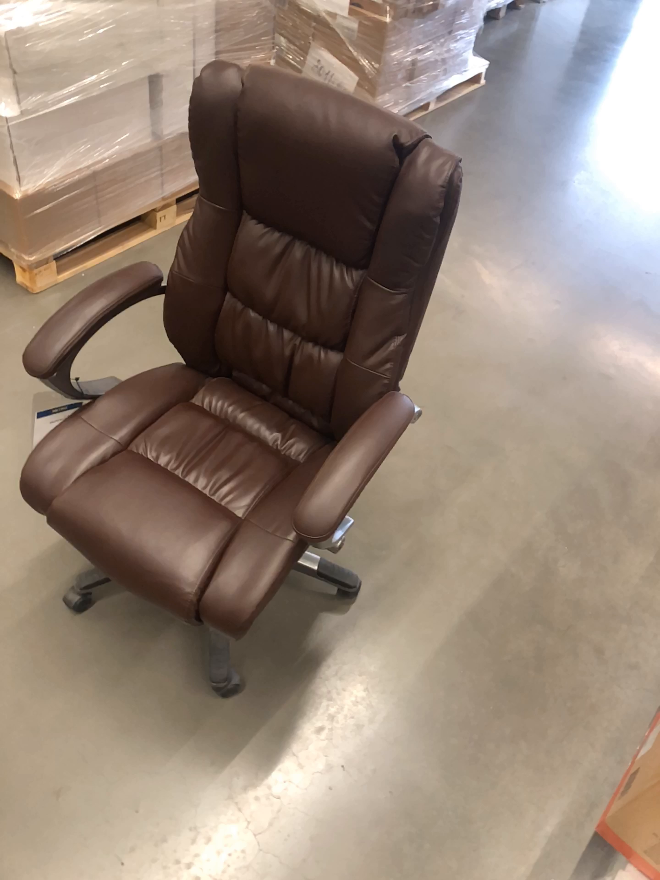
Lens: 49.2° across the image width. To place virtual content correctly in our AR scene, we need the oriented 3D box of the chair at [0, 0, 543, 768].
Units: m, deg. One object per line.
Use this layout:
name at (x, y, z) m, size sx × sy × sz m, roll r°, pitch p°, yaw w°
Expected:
chair at (-0.223, -0.057, 1.350) m, size 0.681 × 1.093 × 0.653 m, roll 31°, pitch 50°, yaw 17°
